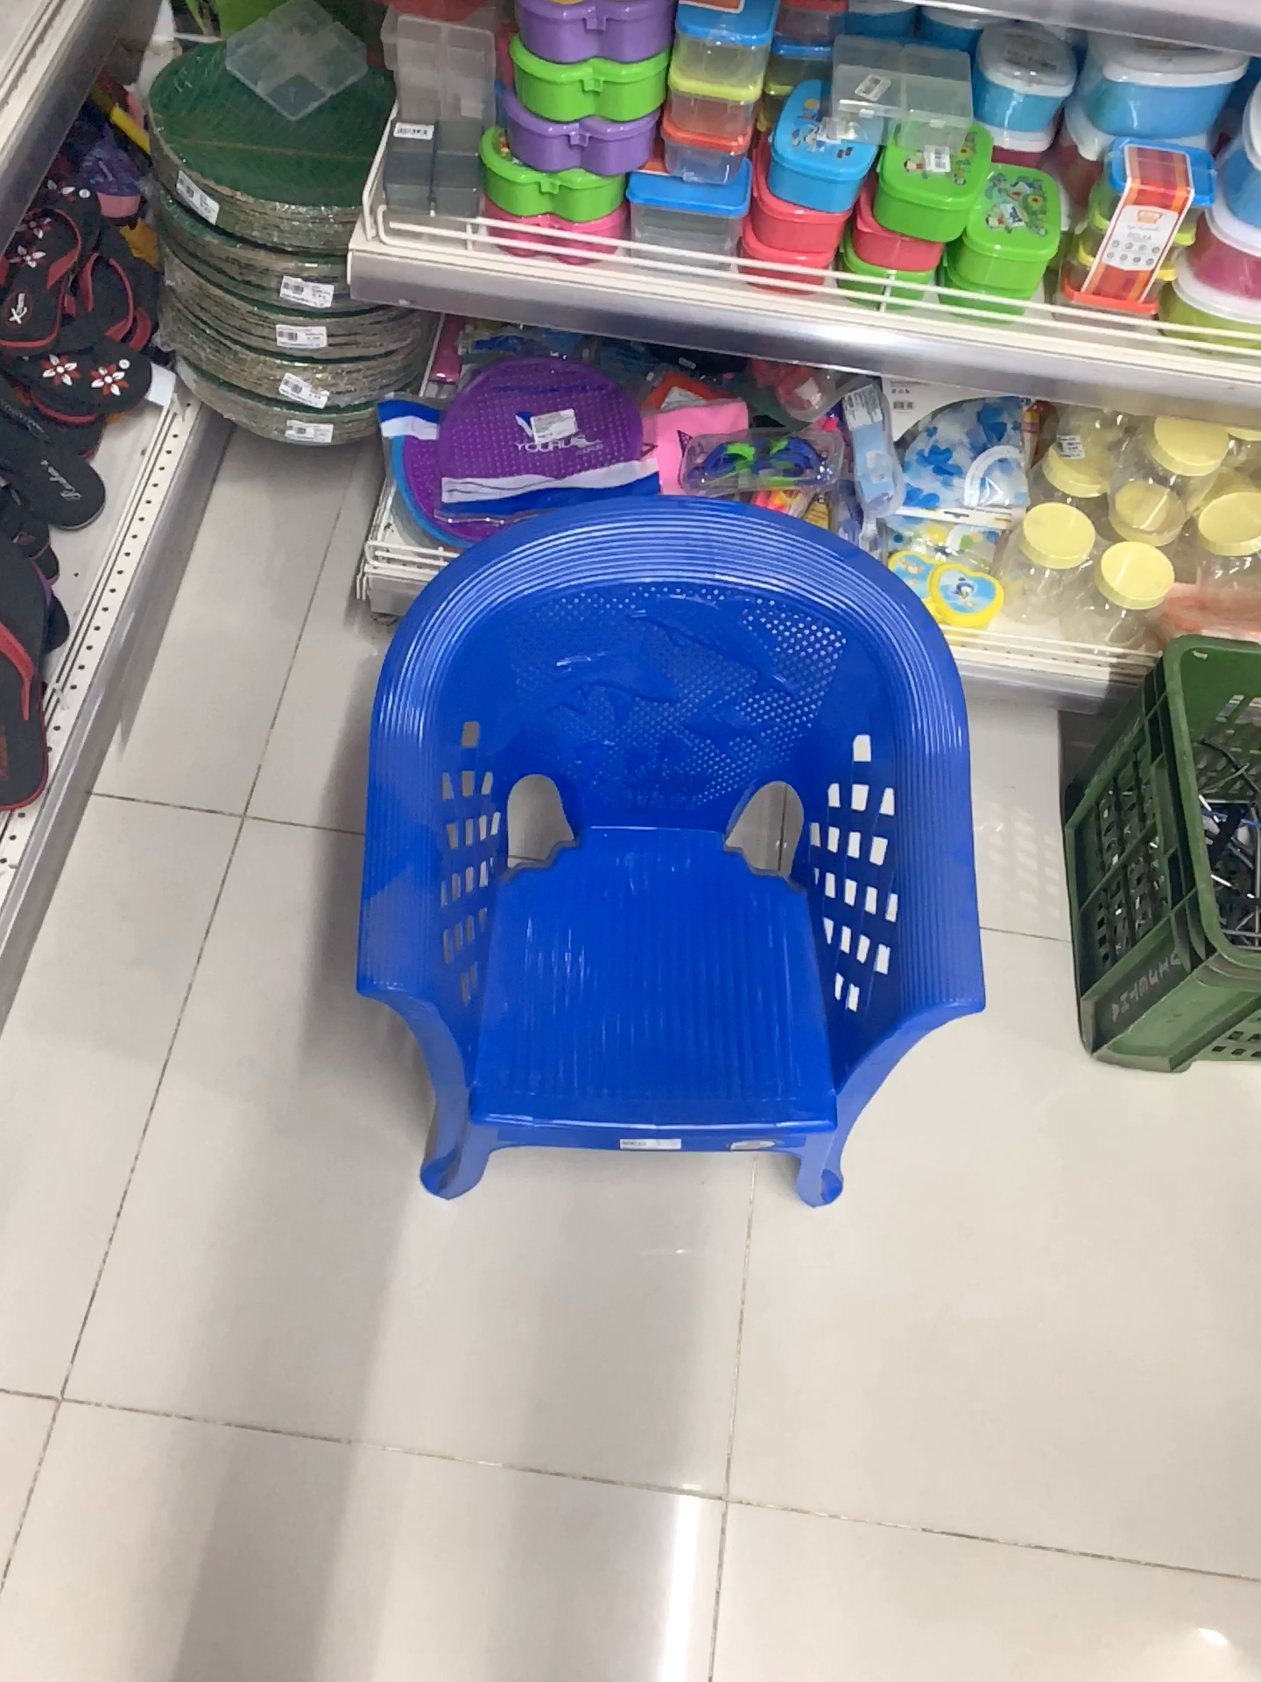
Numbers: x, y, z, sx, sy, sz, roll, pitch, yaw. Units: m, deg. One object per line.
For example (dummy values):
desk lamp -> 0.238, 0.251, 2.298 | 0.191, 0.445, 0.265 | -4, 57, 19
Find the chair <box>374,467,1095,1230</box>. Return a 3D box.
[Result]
chair -> 0.048, 0.040, 1.055 | 0.420, 0.469, 0.451 | 2, 62, -3
